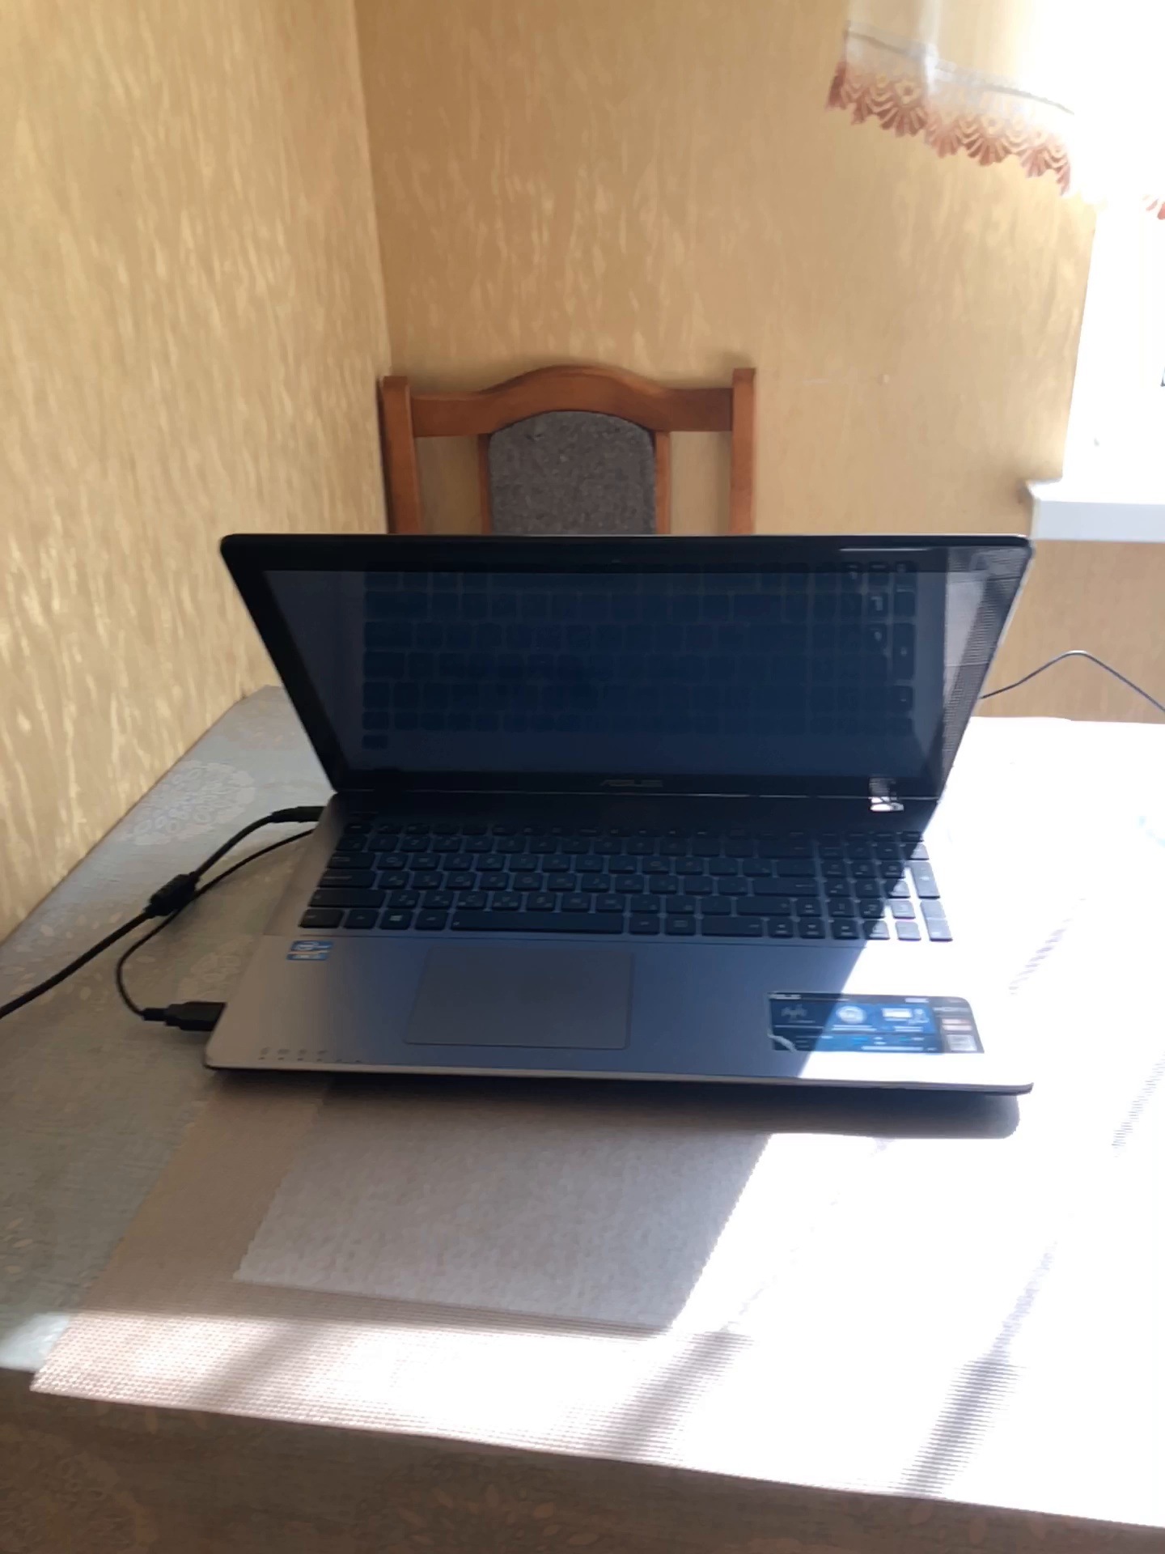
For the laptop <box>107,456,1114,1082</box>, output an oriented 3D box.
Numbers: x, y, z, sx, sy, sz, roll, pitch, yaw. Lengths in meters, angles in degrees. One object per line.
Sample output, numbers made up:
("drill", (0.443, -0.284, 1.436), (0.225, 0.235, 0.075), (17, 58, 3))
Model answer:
("laptop", (0.015, -0.020, 0.611), (0.362, 0.200, 0.246), (0, 28, 5))
